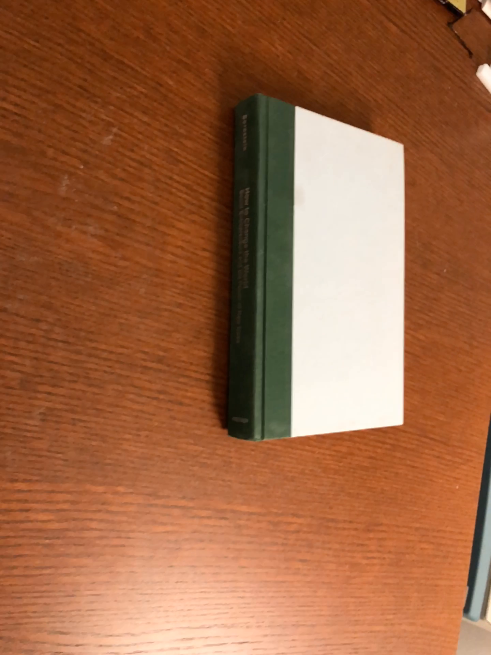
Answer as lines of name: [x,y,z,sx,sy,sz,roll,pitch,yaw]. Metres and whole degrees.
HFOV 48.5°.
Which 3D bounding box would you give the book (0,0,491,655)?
book: [0.295,0.239,0.126,1.004,0.996,1.000,-20,100,-34]
